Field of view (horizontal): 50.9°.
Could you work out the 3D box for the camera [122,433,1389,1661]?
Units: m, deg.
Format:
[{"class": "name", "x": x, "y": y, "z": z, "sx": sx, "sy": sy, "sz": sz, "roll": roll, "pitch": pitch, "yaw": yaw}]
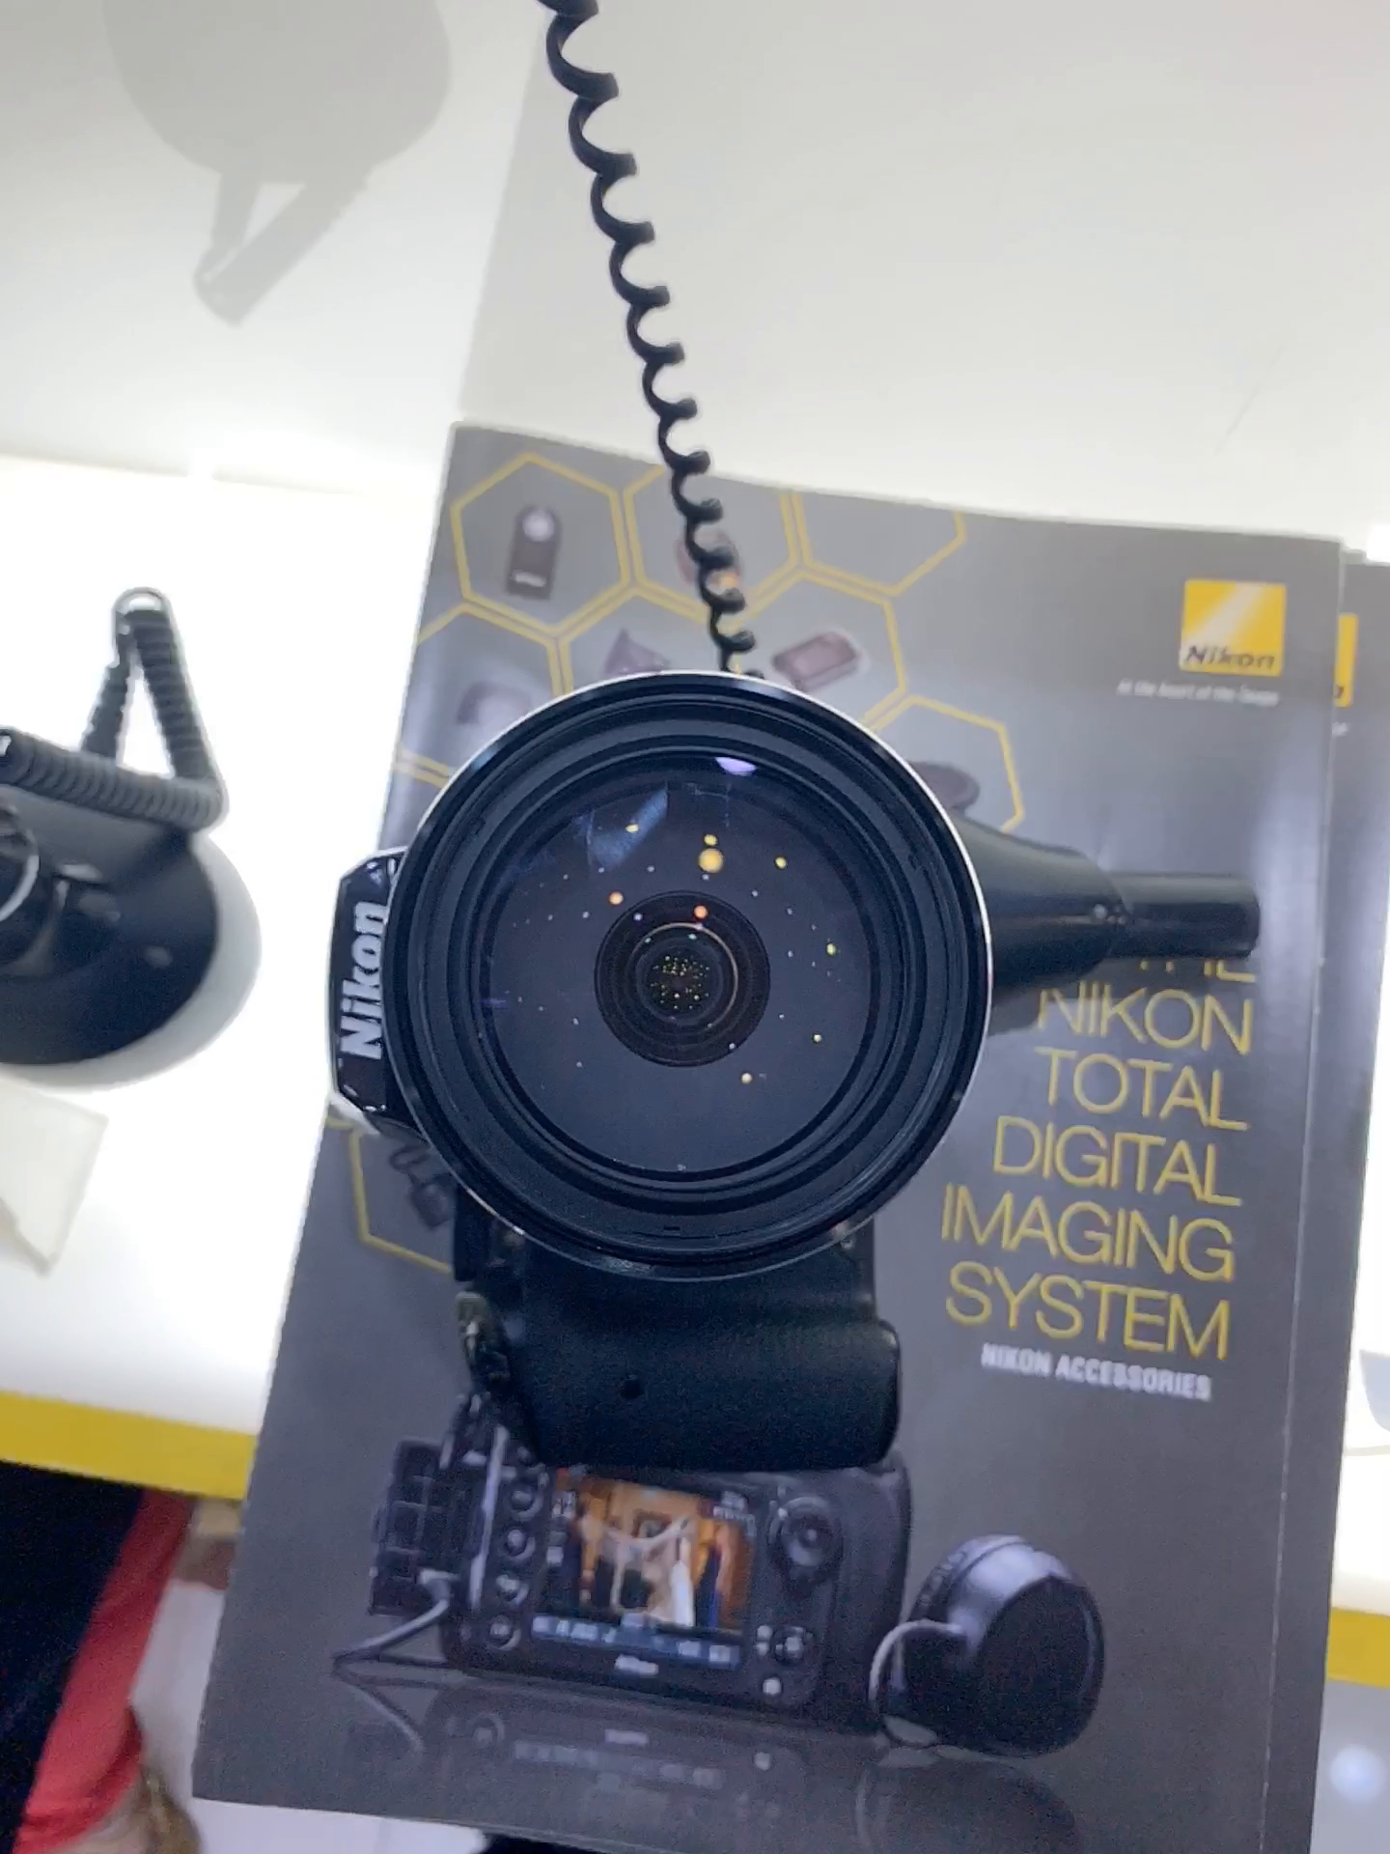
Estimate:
[{"class": "camera", "x": 0.033, "y": 0.021, "z": 0.227, "sx": 0.200, "sy": 0.100, "sz": 0.140, "roll": 2, "pitch": 78, "yaw": -7}]
